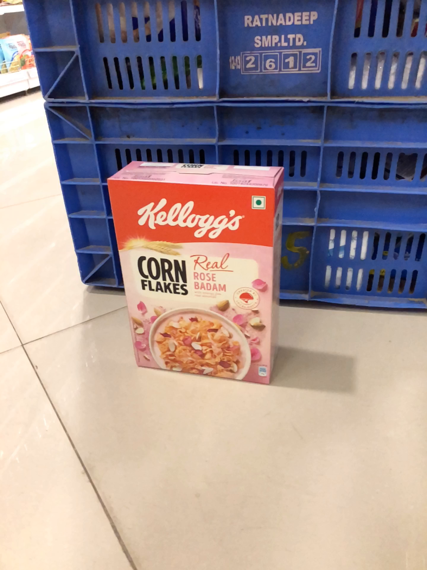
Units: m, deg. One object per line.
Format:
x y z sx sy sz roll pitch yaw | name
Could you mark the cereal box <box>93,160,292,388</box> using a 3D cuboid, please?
-0.016 -0.009 0.566 0.200 0.258 0.070 5 32 13 | cereal box
